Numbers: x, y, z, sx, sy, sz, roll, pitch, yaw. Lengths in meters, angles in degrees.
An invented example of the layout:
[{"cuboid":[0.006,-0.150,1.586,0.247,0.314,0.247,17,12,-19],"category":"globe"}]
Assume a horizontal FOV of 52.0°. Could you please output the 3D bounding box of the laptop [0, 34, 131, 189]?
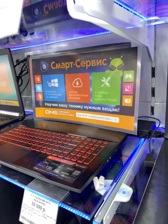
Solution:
[{"cuboid":[-0.115,-0.042,0.475,0.405,0.237,0.287,5,19,32],"category":"laptop"}]
